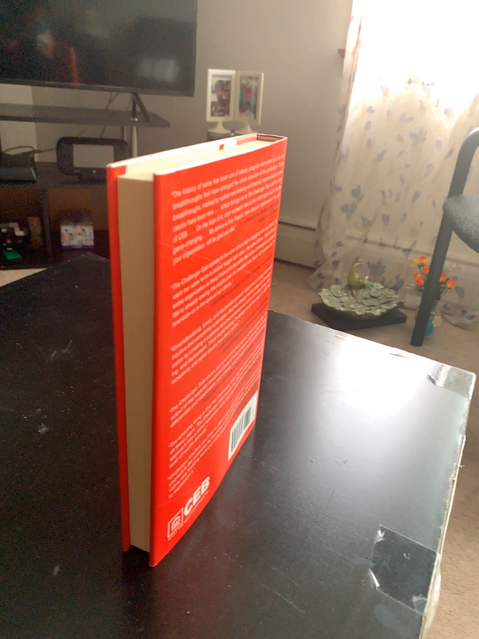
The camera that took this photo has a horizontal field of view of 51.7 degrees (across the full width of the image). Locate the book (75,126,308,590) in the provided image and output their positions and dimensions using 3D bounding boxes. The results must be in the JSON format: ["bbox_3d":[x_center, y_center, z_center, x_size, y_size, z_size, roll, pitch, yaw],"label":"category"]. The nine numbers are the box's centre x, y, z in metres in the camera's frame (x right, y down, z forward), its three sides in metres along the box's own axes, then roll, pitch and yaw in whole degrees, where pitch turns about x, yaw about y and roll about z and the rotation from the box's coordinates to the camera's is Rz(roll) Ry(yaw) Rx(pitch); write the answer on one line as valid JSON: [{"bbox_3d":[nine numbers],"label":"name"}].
[{"bbox_3d":[-0.020,0.012,0.311,0.040,0.238,0.171,16,28,21],"label":"book"}]
